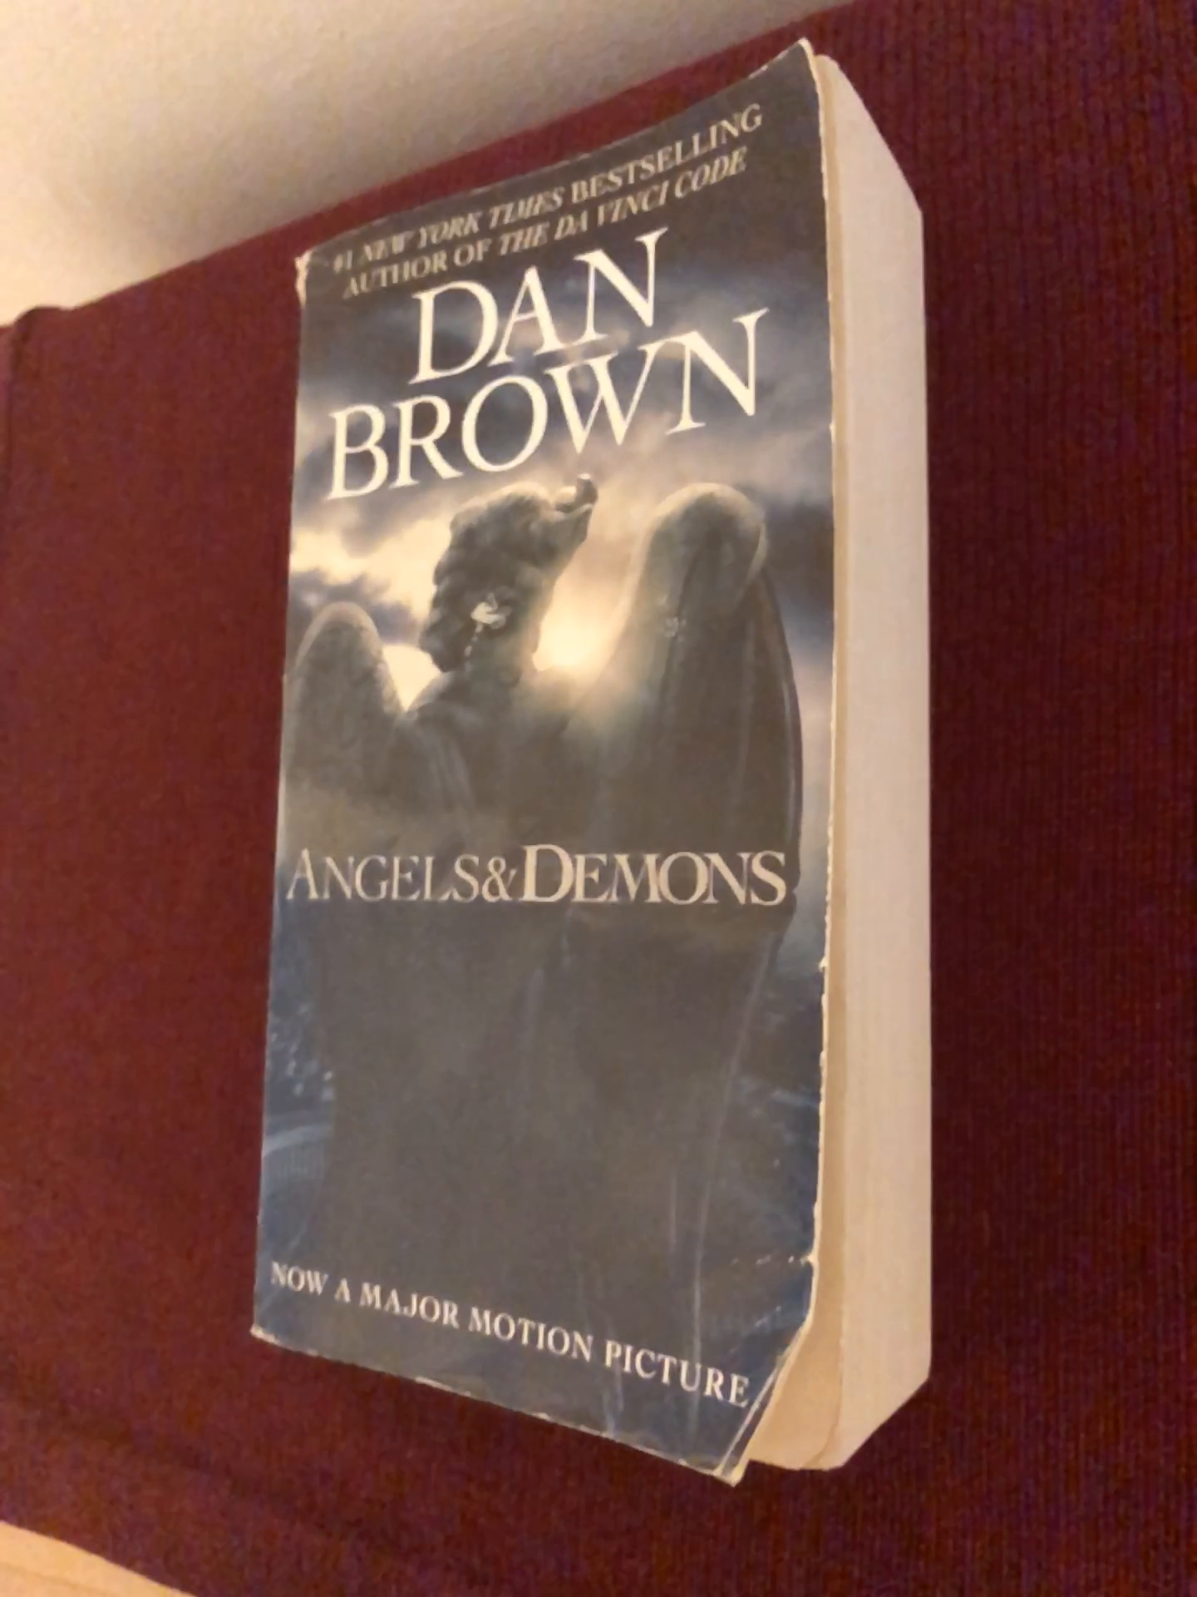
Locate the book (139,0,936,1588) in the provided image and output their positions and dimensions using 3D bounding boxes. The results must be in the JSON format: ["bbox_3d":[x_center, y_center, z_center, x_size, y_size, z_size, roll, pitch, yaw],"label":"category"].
[{"bbox_3d":[-0.012,-0.011,0.213,0.121,0.040,0.210,-4,81,35],"label":"book"}]
